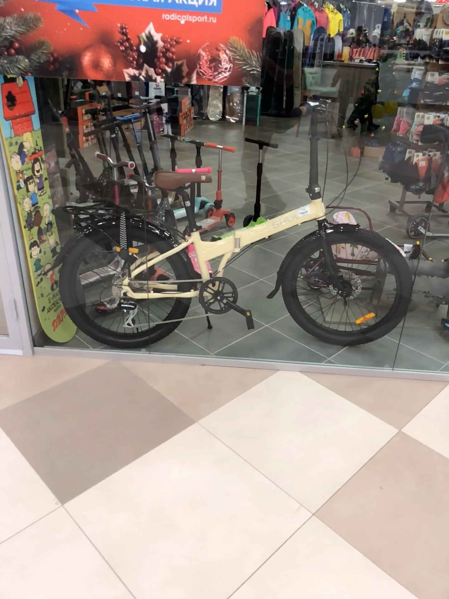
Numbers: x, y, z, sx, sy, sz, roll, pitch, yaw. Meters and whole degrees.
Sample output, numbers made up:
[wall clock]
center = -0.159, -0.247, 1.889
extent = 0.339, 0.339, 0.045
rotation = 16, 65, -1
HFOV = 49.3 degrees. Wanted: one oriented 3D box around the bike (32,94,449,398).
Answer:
[bike]
center = 0.091, -0.245, 2.266
extent = 1.702, 1.175, 0.596
rotation = 2, 26, -2
